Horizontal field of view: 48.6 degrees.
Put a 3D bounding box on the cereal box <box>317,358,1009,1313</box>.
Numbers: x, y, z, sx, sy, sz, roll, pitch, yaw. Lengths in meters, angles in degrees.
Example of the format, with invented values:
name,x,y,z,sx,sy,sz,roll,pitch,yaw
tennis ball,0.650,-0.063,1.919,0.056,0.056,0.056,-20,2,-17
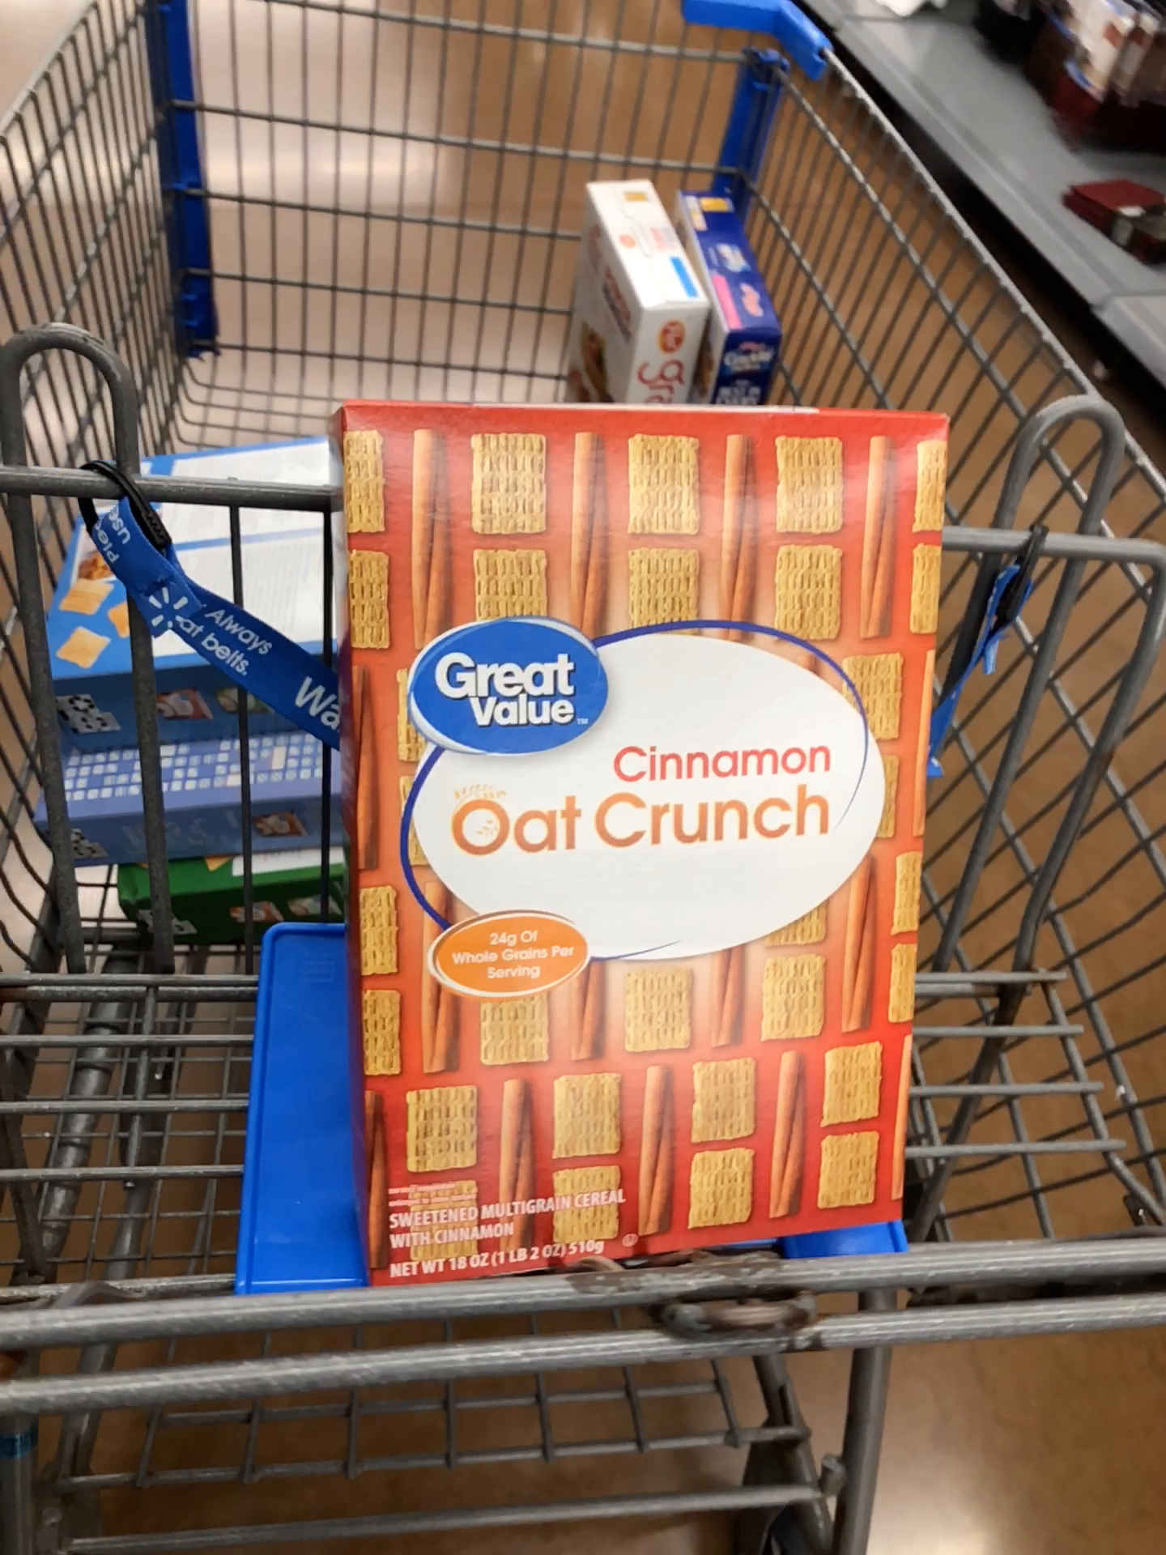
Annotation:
name,x,y,z,sx,sy,sz,roll,pitch,yaw
cereal box,0.020,0.016,0.424,0.200,0.280,0.070,-2,12,-14
